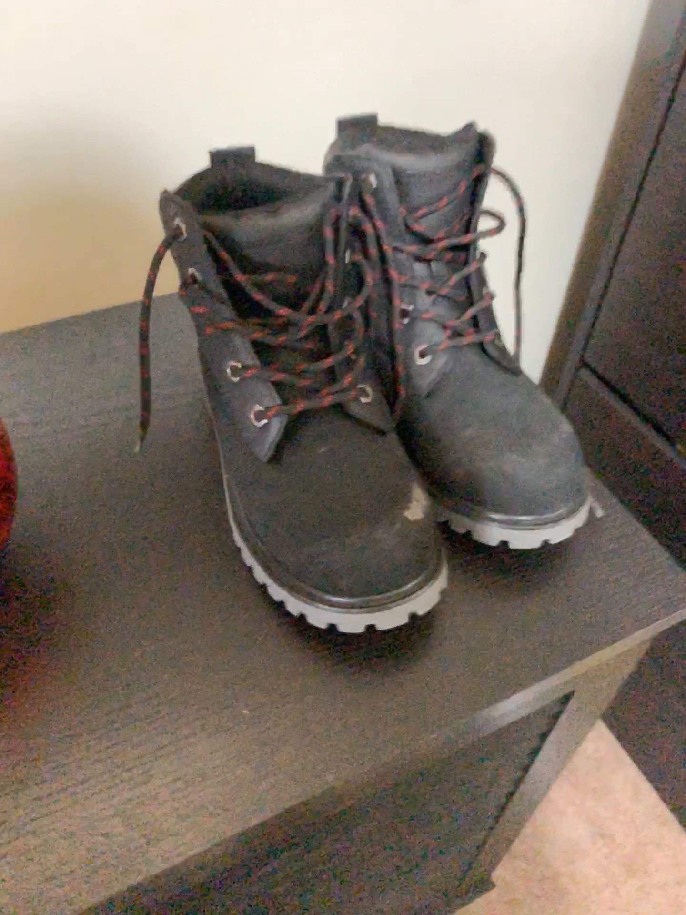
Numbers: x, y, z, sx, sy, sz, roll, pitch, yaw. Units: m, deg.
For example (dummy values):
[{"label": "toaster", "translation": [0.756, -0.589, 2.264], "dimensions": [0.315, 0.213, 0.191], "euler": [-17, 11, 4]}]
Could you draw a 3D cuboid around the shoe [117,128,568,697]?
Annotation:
[{"label": "shoe", "translation": [-0.018, -0.034, 0.354], "dimensions": [0.100, 0.159, 0.222], "euler": [-18, 48, -19]}]

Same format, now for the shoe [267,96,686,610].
[{"label": "shoe", "translation": [0.053, -0.069, 0.393], "dimensions": [0.100, 0.159, 0.232], "euler": [-18, 48, -19]}]
